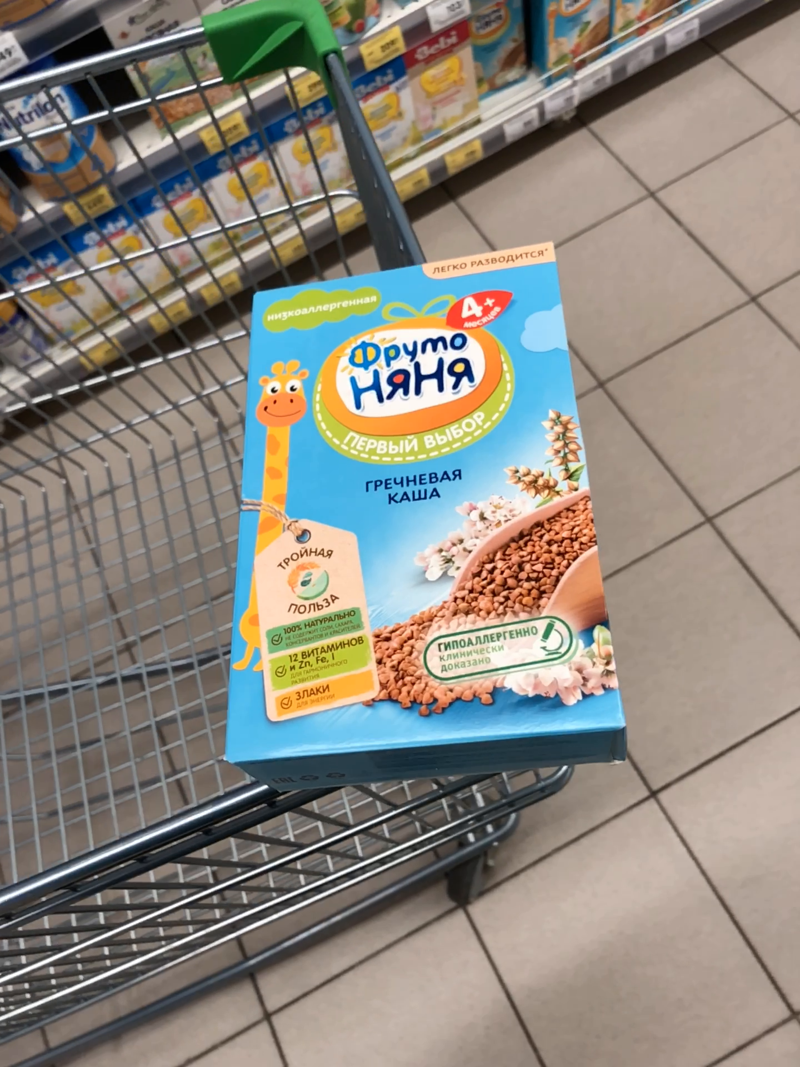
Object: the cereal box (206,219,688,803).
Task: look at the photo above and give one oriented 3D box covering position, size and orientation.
[{"bbox_3d":[0.012,-0.014,0.344,0.150,0.050,0.210,-7,62,9],"label":"cereal box"}]
